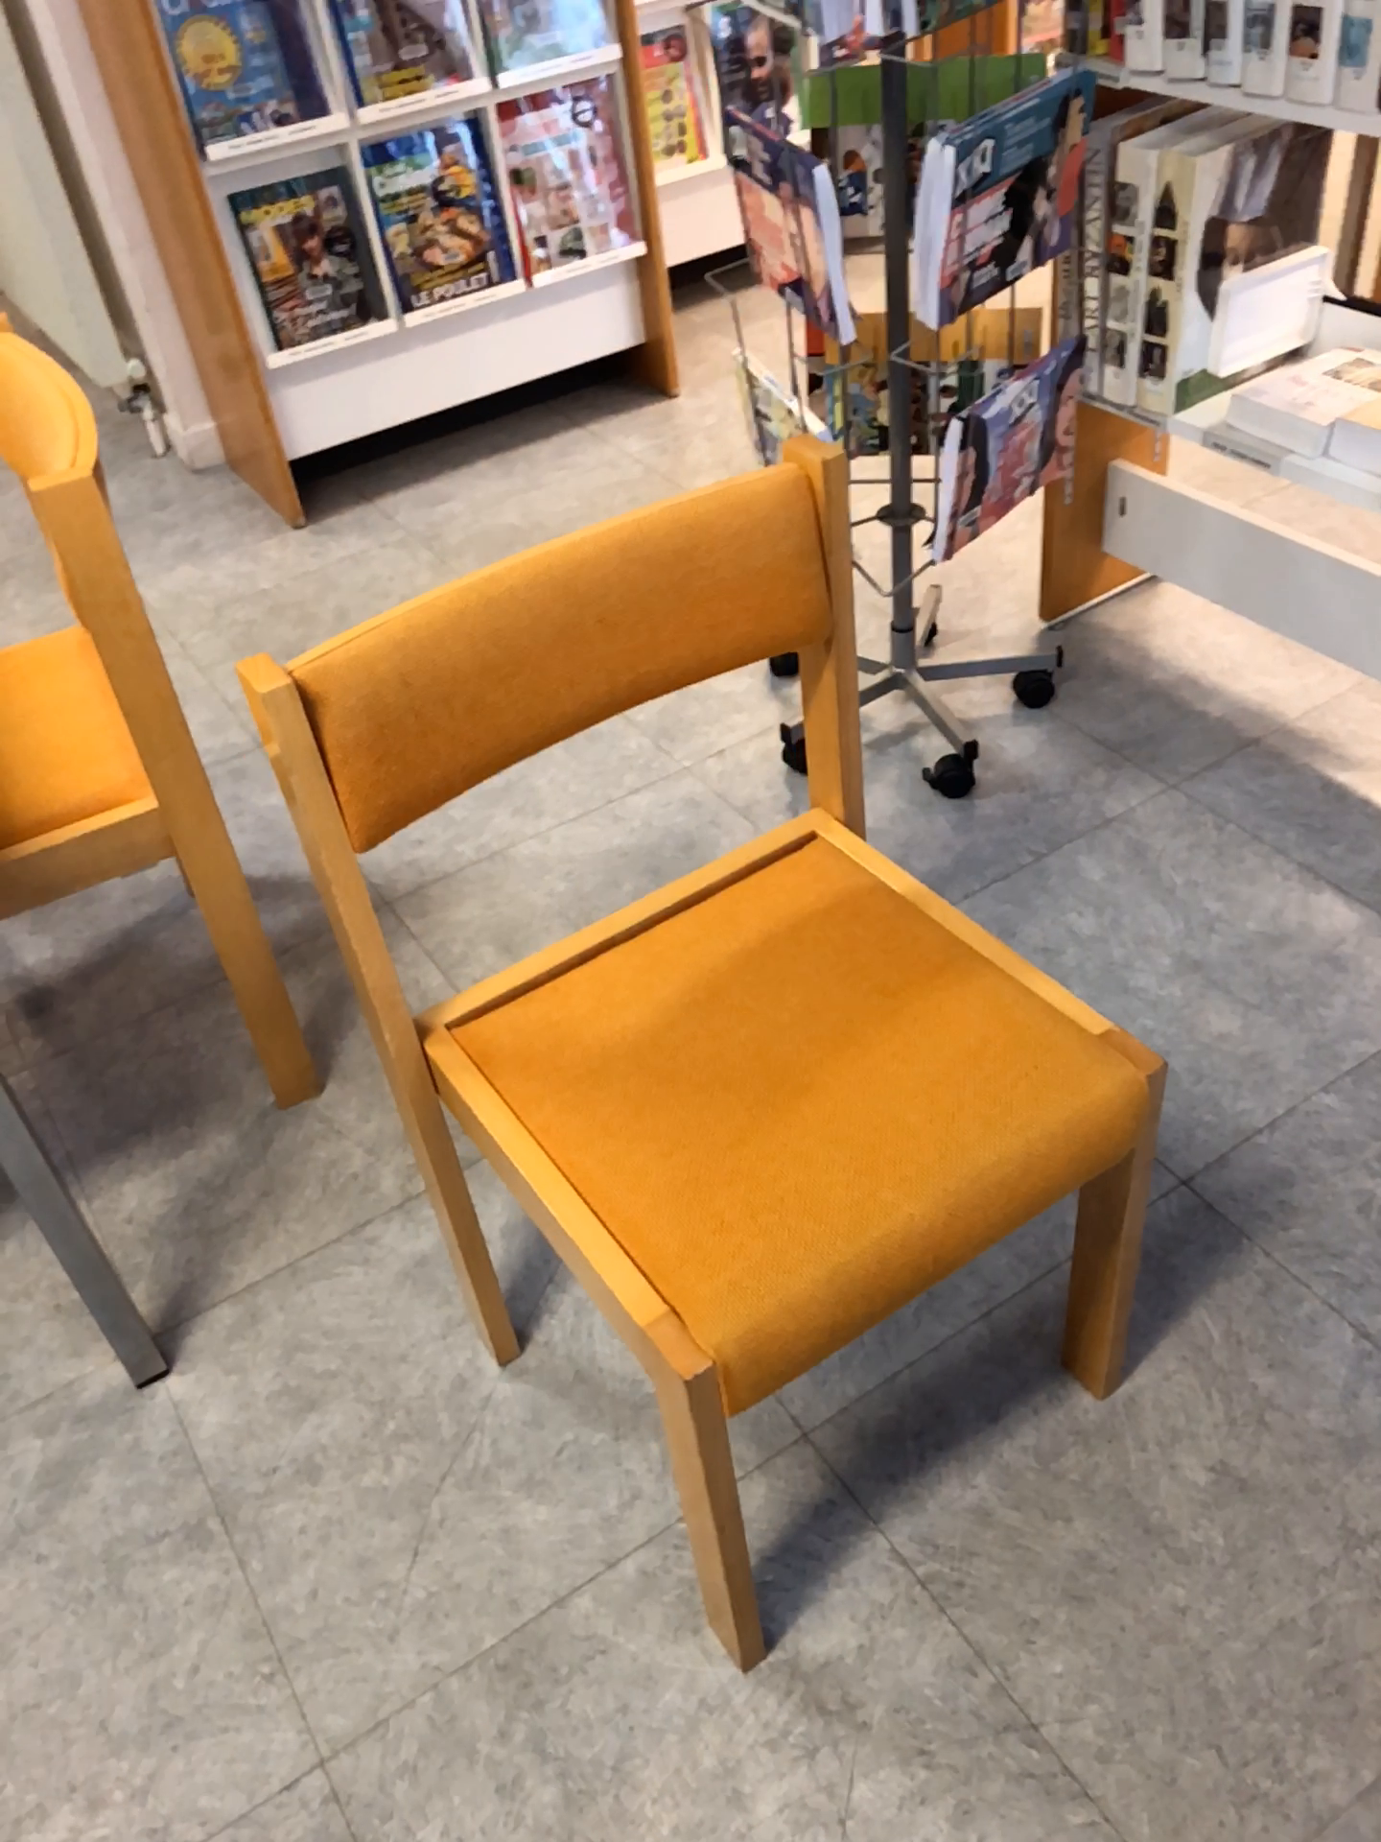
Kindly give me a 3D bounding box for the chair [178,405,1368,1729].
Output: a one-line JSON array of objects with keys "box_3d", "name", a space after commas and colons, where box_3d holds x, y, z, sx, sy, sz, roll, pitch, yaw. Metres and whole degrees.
[{"box_3d": [0.061, 0.092, 1.176, 0.552, 0.696, 0.521, -28, 44, -22], "name": "chair"}]
